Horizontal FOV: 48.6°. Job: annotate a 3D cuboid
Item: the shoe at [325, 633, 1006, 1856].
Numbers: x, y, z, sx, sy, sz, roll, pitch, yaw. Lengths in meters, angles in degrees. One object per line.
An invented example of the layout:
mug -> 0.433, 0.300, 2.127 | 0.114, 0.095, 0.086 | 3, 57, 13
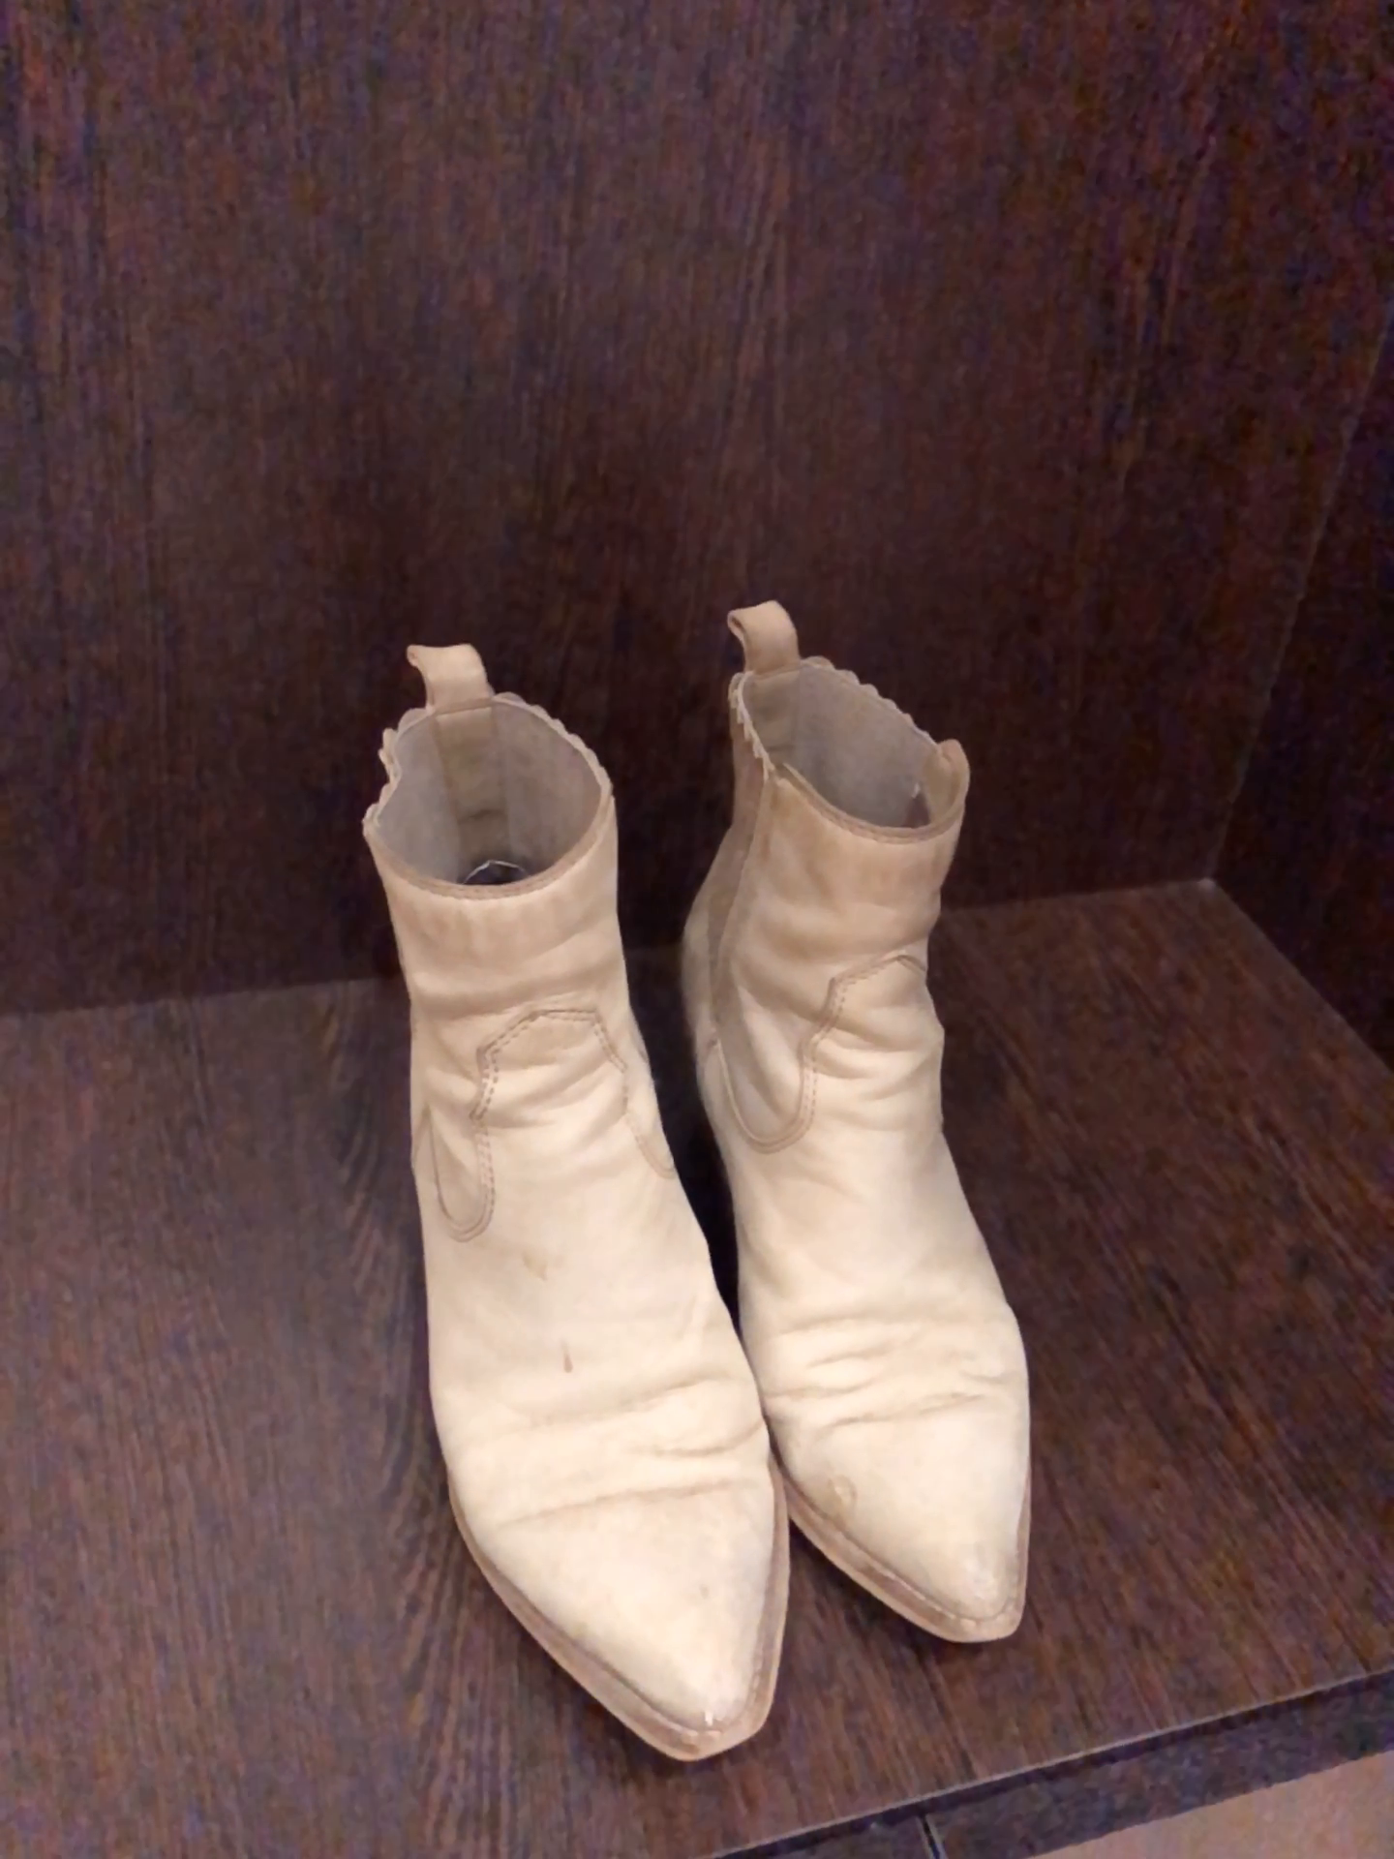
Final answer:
shoe -> -0.031, 0.060, 0.422 | 0.100, 0.169, 0.271 | -8, 38, -13

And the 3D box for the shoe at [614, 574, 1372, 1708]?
shoe -> 0.048, 0.035, 0.446 | 0.100, 0.169, 0.281 | -3, 37, -11
